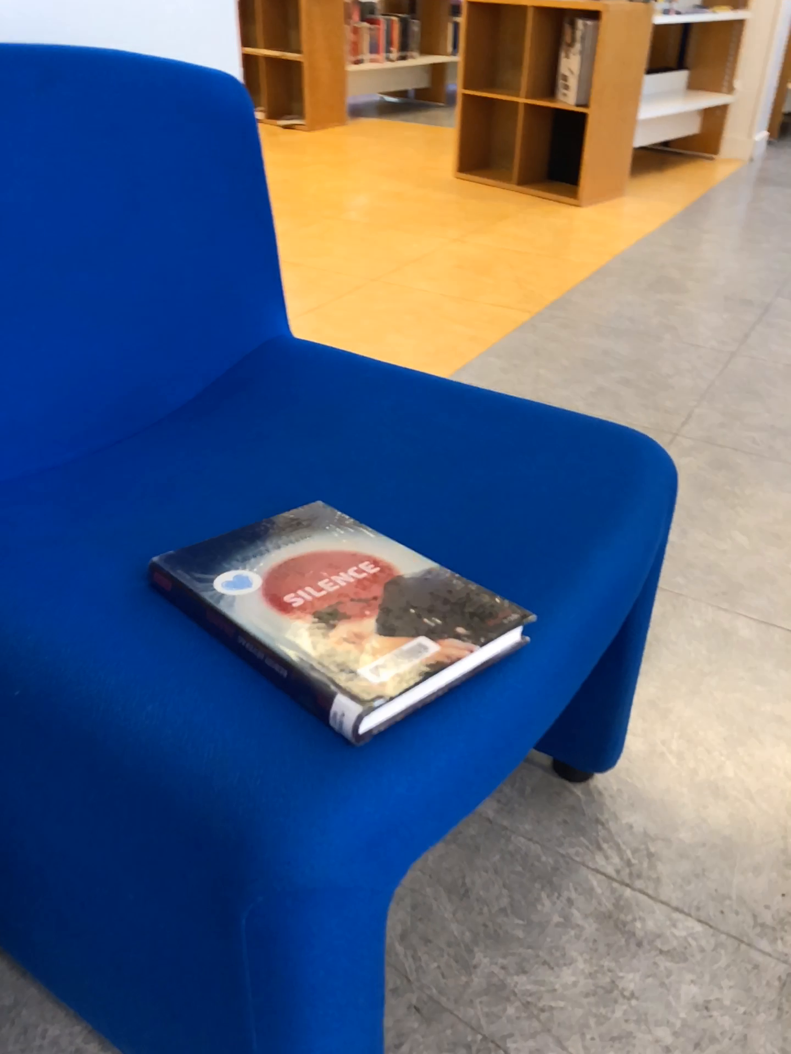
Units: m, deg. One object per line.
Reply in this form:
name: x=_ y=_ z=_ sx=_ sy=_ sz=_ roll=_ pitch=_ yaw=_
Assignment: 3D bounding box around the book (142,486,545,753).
book: x=-0.037 y=0.041 z=0.540 sx=0.147 sy=0.023 sz=0.211 roll=-23 pitch=38 yaw=-38
